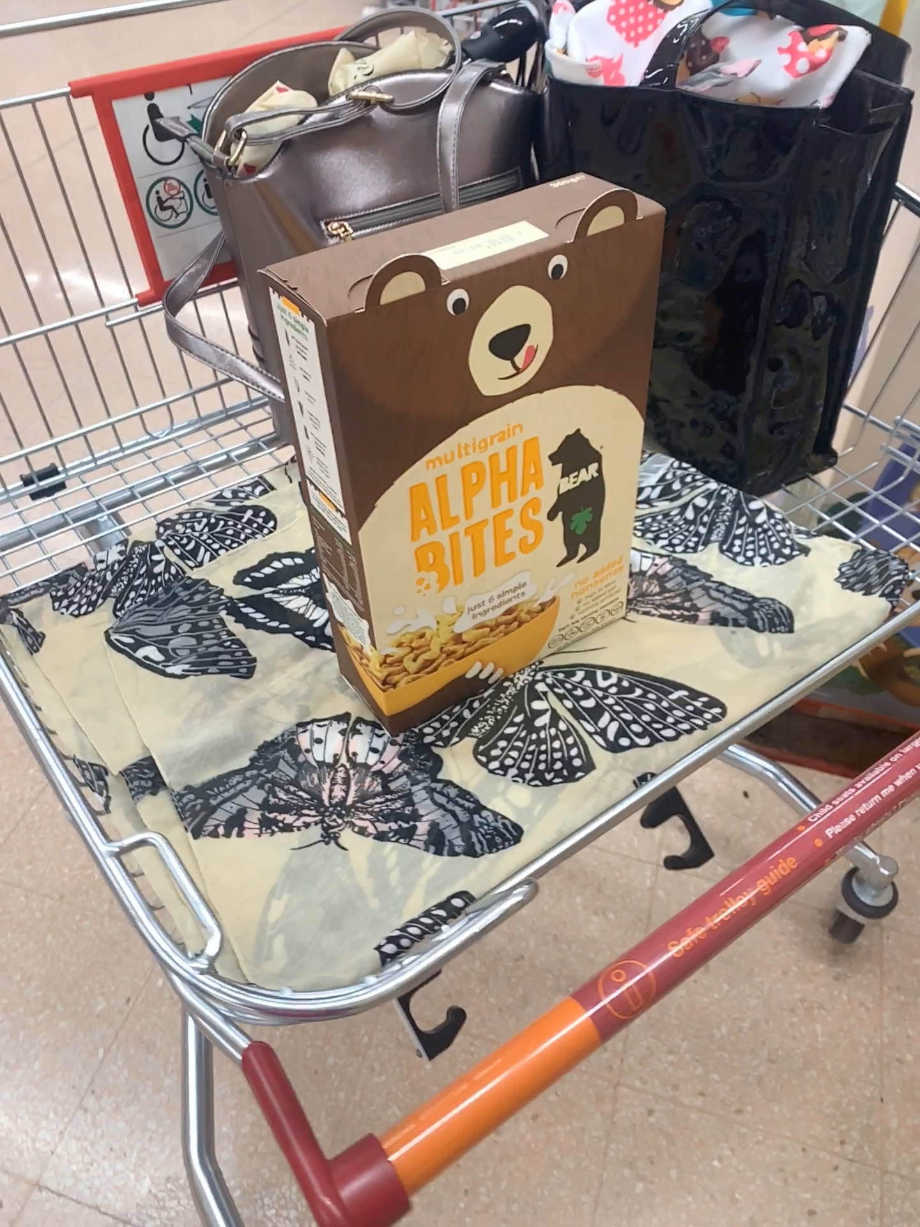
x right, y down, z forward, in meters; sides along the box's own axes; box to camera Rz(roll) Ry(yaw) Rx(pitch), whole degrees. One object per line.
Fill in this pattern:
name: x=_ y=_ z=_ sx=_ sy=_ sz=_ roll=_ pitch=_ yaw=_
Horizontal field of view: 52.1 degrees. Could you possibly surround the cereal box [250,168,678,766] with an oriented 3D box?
cereal box: x=0.010 y=-0.073 z=0.551 sx=0.201 sy=0.297 sz=0.070 roll=-26 pitch=47 yaw=-23
